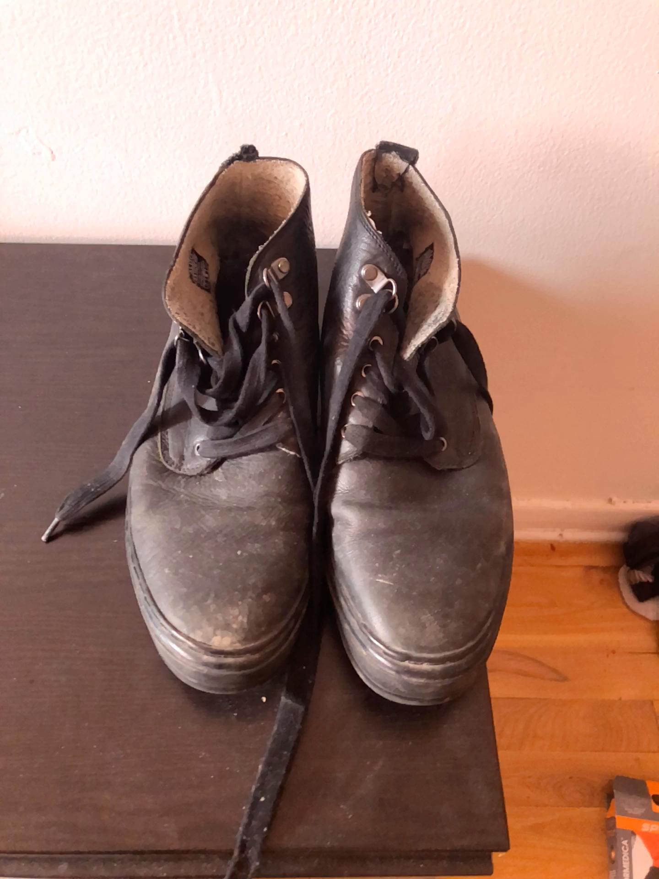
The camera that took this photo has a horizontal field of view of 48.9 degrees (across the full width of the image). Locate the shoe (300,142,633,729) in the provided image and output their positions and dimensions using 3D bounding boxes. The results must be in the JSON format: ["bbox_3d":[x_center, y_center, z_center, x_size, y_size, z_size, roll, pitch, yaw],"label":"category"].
[{"bbox_3d":[0.049,-0.025,0.428,0.120,0.109,0.342,-2,55,-3],"label":"shoe"}]

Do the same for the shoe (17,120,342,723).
[{"bbox_3d":[-0.056,-0.032,0.413,0.120,0.109,0.342,1,55,-1],"label":"shoe"}]
